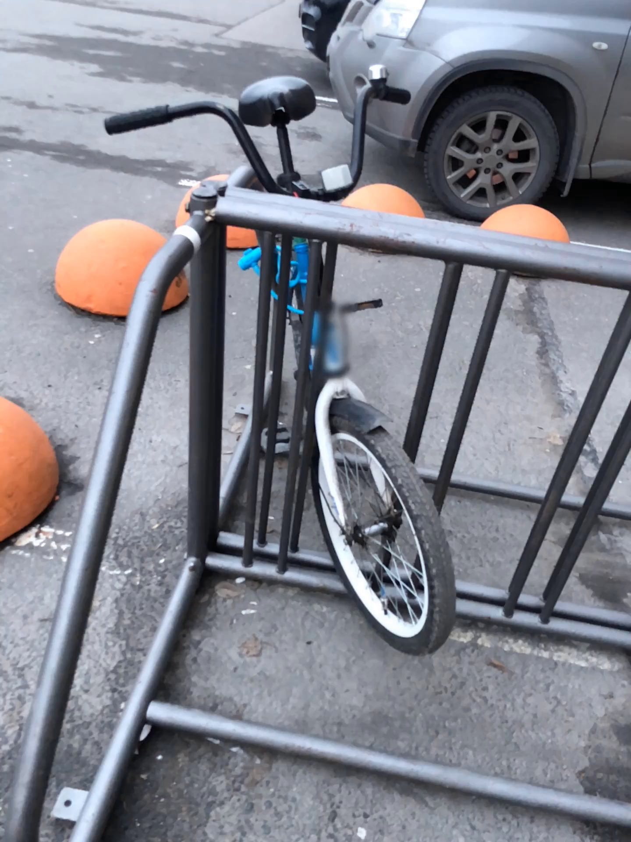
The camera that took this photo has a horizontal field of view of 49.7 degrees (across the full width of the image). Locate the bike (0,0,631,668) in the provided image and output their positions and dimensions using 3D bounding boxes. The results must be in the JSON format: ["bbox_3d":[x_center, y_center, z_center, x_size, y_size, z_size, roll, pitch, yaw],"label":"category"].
[{"bbox_3d":[-0.083,-0.336,1.516,0.723,0.992,1.427,0,31,-11],"label":"bike"}]
